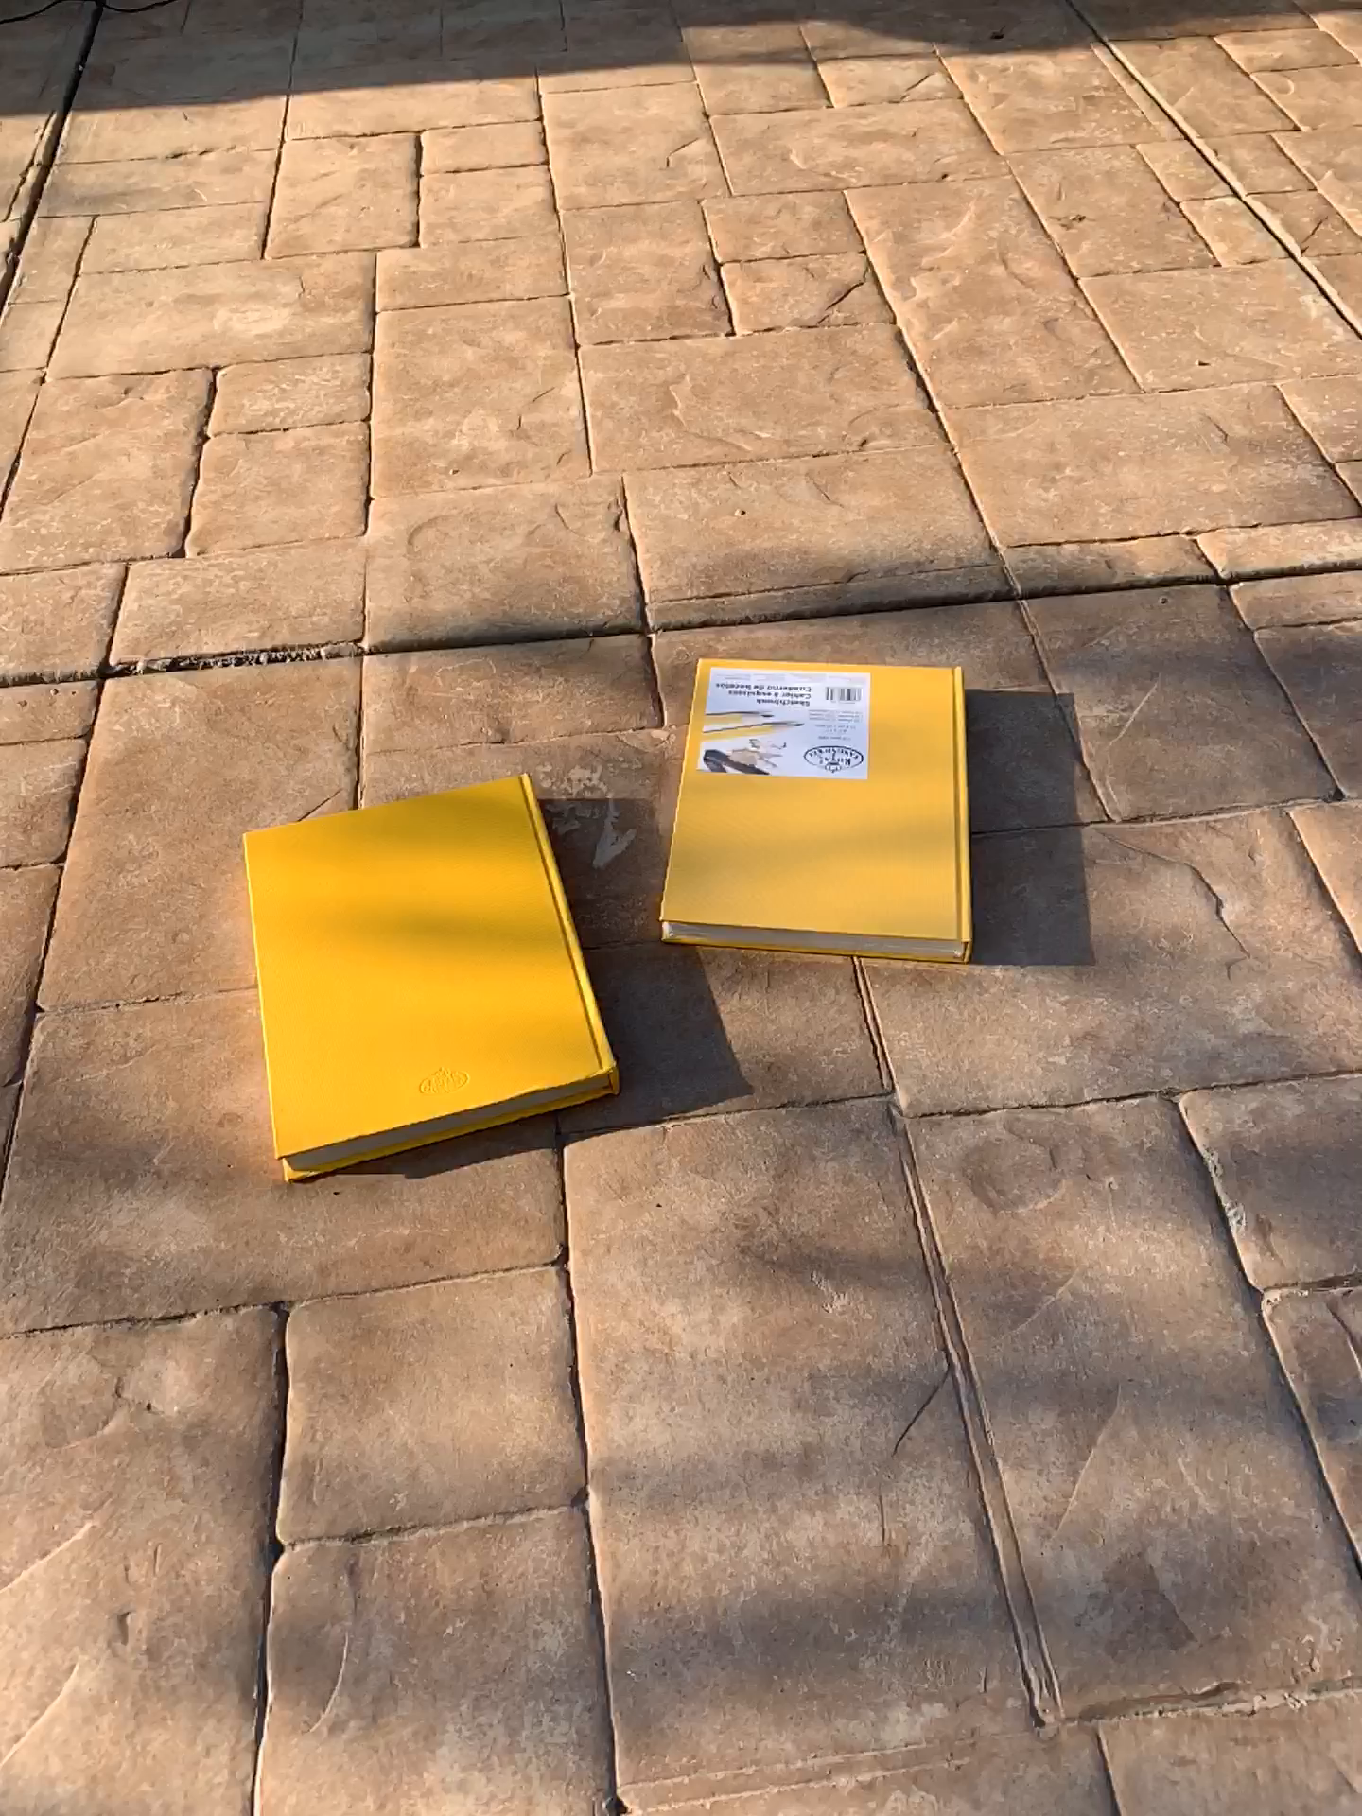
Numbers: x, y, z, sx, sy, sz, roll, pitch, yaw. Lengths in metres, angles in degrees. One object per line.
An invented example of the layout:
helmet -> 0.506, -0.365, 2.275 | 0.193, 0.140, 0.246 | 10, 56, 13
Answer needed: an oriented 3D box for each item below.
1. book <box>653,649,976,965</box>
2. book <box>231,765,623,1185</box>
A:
book -> 0.104, -0.085, 1.044 | 0.220, 0.030, 0.274 | 3, 53, 5
book -> -0.184, 0.032, 0.958 | 0.220, 0.030, 0.290 | -14, 50, -9
